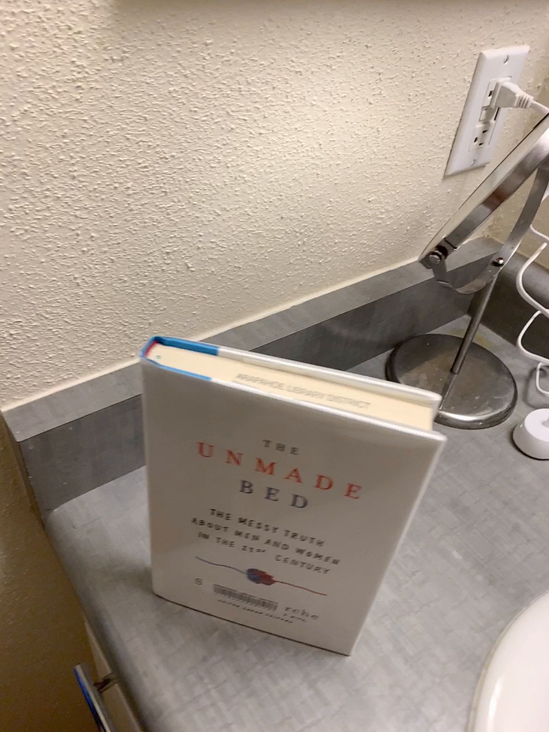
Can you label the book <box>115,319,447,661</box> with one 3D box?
[{"bbox_3d":[-0.007,0.086,0.330,0.152,0.214,0.033,14,40,7],"label":"book"}]
